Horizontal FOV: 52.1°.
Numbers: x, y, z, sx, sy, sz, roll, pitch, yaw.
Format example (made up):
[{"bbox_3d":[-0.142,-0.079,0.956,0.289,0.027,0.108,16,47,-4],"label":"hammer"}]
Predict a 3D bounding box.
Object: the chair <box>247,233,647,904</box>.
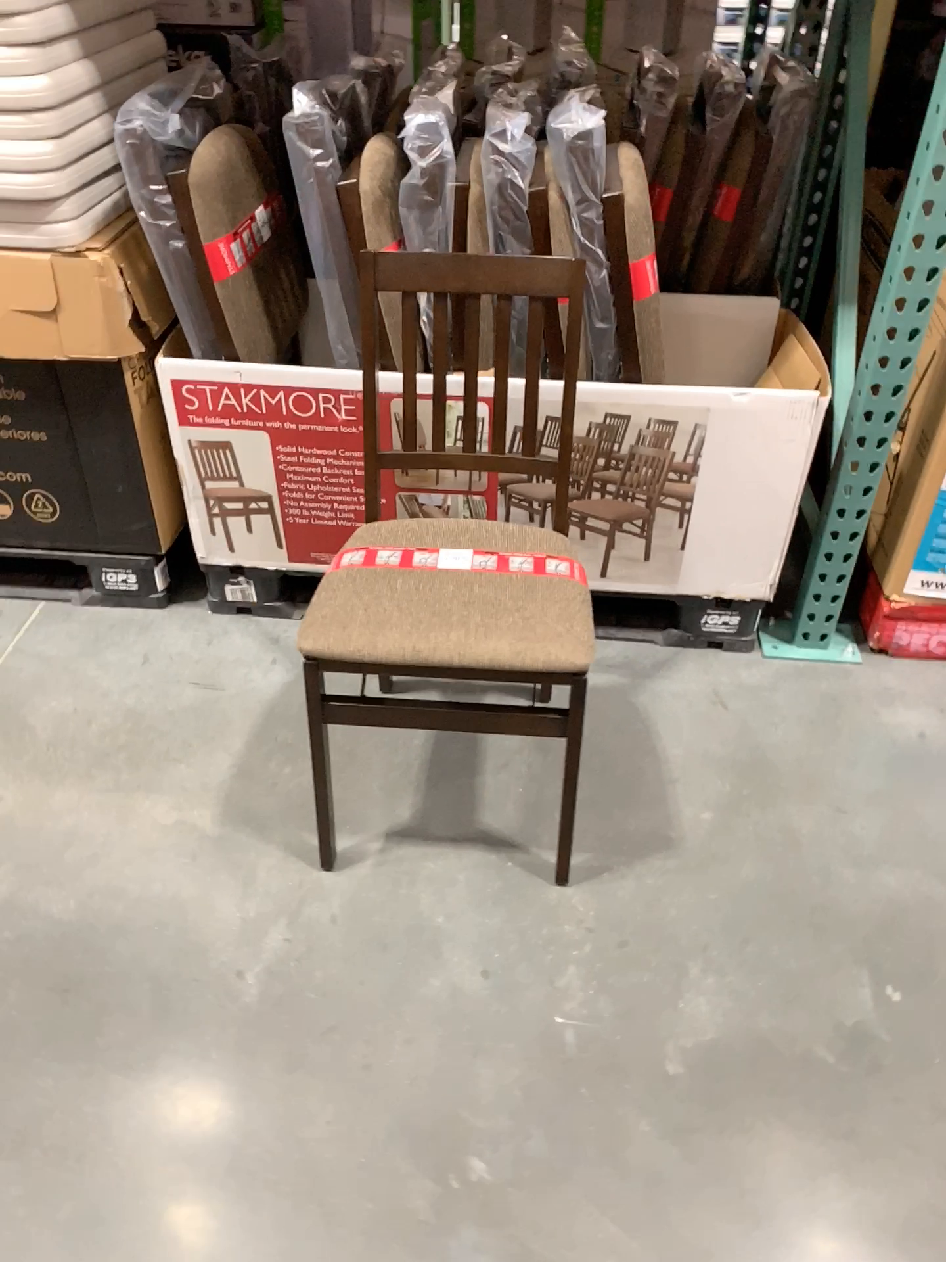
[{"bbox_3d":[-0.015,-0.088,1.499,0.421,0.837,0.574,3,38,3],"label":"chair"}]
